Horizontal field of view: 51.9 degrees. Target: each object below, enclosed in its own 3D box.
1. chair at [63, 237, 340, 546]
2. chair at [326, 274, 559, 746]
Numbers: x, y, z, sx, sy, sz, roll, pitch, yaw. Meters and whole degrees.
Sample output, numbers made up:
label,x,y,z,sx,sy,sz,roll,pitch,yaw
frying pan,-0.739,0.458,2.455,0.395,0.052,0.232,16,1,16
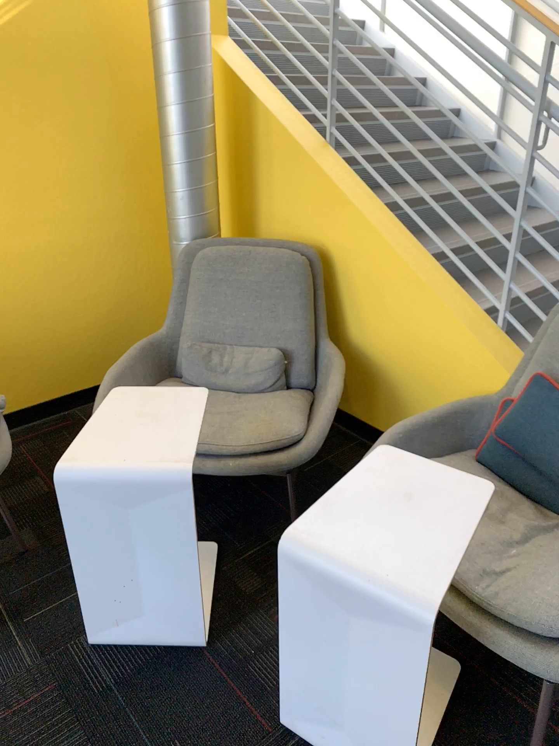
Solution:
label,x,y,z,sx,sy,sz,roll,pitch,yaw
chair,-0.219,0.009,2.447,0.890,1.015,0.844,2,23,8
chair,0.775,0.310,1.696,0.880,0.945,0.874,-11,26,-27
